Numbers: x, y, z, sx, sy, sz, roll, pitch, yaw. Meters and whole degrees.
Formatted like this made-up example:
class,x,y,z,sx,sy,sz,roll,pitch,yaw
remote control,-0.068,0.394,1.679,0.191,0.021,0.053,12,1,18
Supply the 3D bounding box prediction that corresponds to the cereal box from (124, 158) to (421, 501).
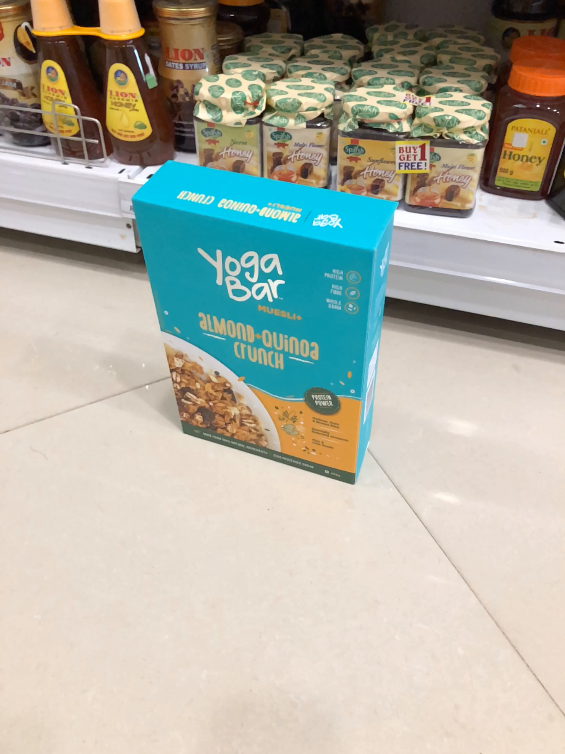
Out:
class,x,y,z,sx,sy,sz,roll,pitch,yaw
cereal box,-0.004,-0.025,0.456,0.170,0.229,0.060,15,47,17
